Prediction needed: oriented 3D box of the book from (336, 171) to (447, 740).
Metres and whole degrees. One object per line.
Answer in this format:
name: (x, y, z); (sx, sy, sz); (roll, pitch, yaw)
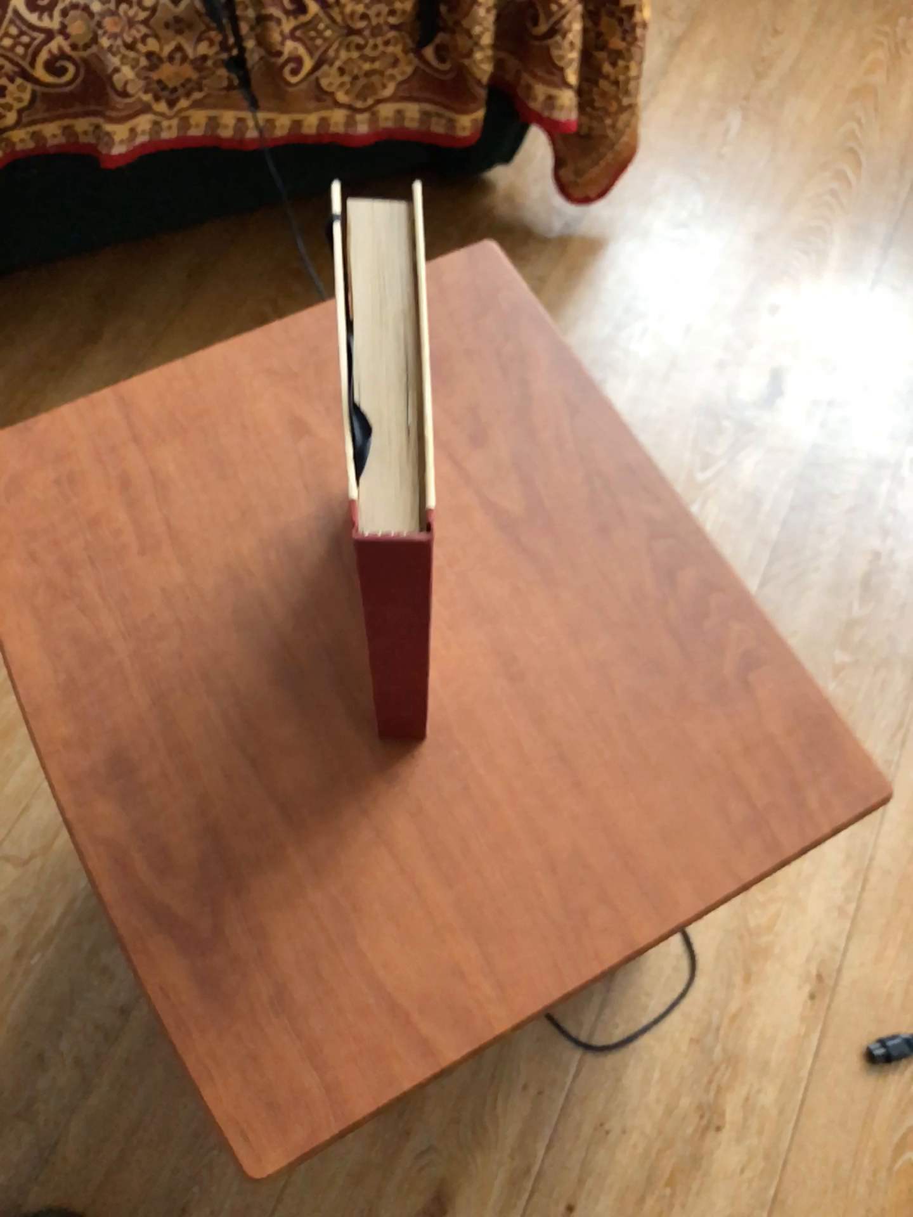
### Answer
book: (-0.029, -0.049, 0.442); (0.032, 0.212, 0.155); (-2, 66, -4)
